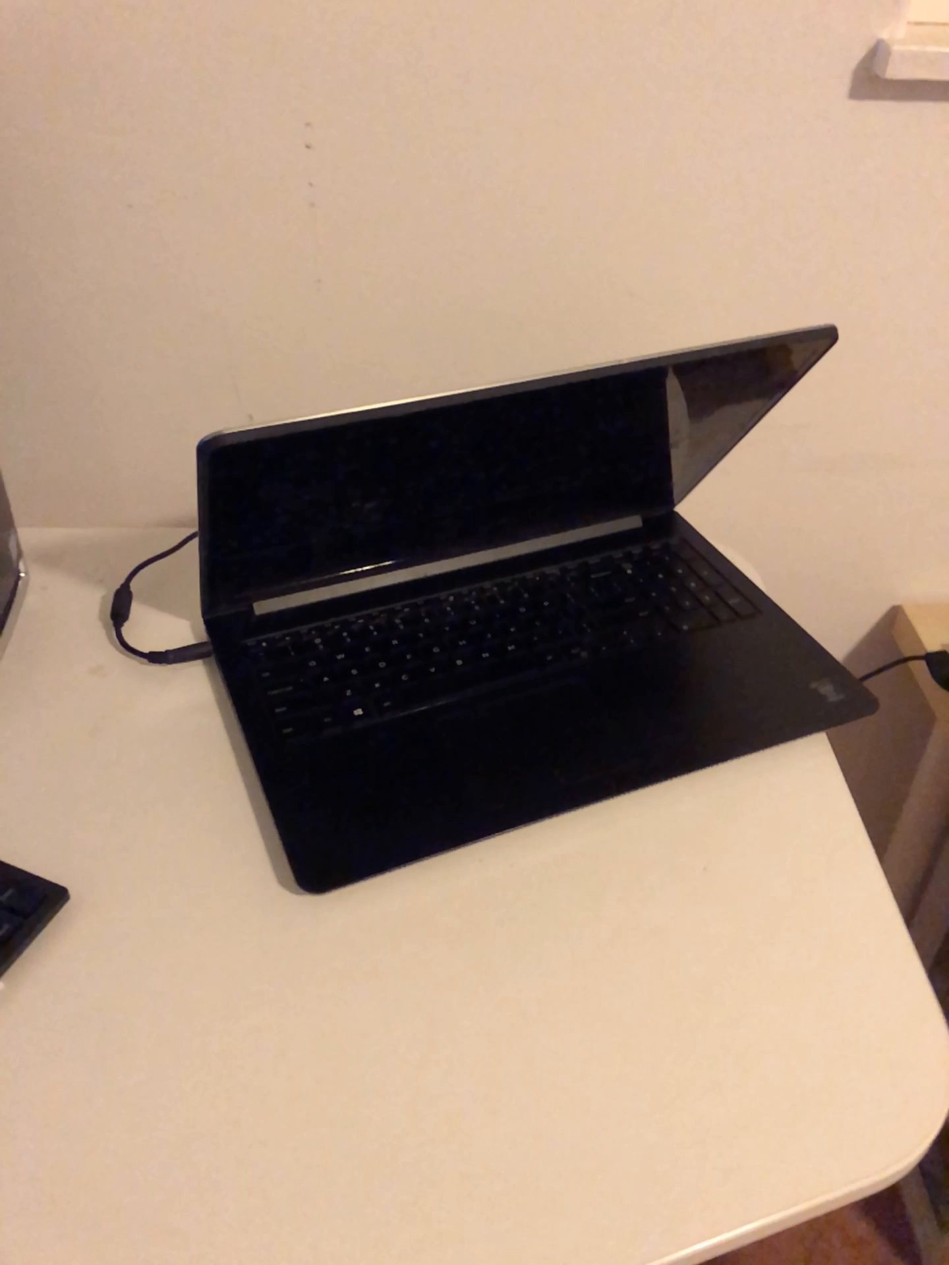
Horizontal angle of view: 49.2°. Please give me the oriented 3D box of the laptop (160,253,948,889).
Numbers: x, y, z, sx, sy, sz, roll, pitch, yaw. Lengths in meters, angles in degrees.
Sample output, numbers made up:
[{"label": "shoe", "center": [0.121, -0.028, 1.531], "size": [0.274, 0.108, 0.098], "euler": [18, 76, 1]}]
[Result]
[{"label": "laptop", "center": [0.039, -0.062, 0.628], "size": [0.373, 0.207, 0.252], "euler": [-14, 41, -17]}]
